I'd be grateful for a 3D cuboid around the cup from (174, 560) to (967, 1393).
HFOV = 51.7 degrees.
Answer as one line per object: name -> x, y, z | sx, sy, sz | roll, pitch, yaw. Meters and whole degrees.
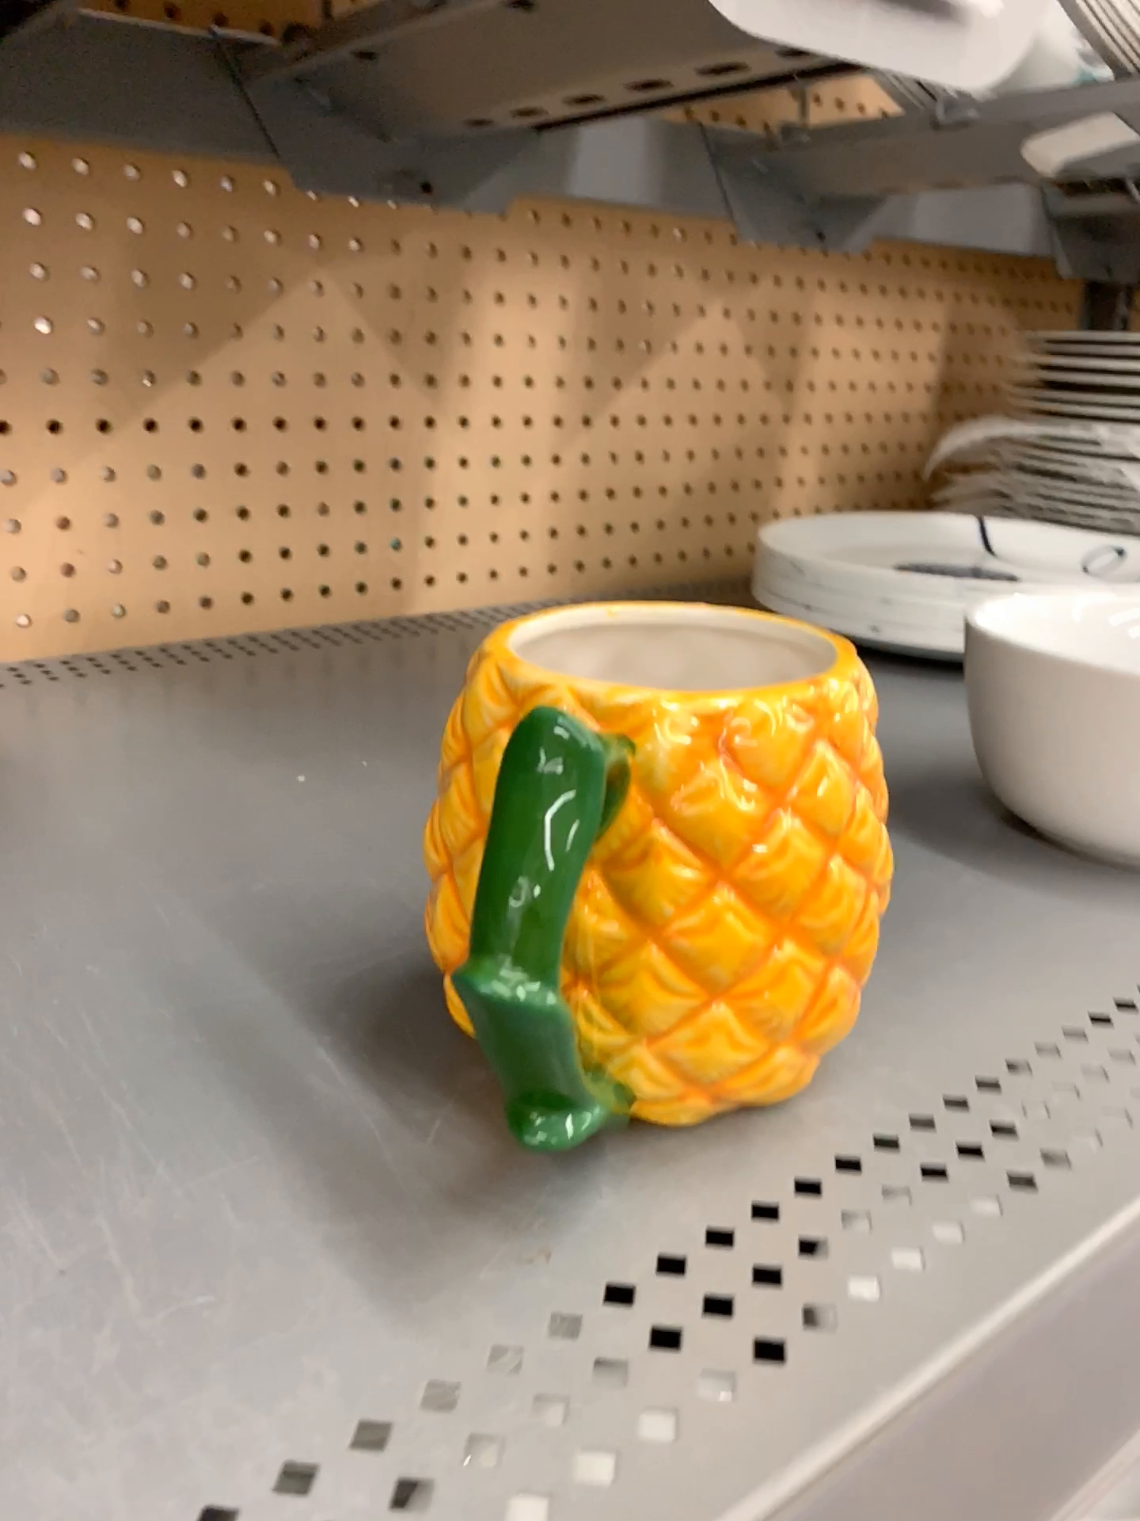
cup -> 0.013, 0.022, 0.261 | 0.100, 0.100, 0.160 | 12, 22, 26
